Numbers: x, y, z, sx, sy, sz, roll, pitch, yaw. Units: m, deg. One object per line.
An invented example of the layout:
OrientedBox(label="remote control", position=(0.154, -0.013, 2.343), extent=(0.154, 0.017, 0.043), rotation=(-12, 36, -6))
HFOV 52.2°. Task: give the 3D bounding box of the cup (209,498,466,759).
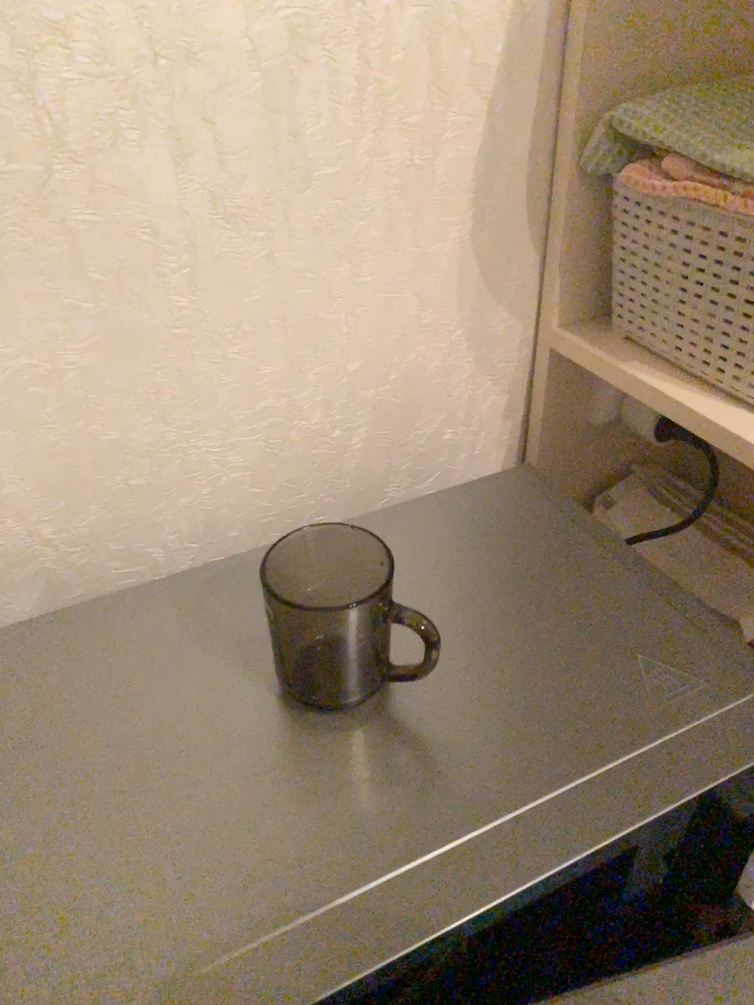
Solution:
OrientedBox(label="cup", position=(-0.019, 0.065, 0.428), extent=(0.110, 0.079, 0.081), rotation=(17, 40, 24))
